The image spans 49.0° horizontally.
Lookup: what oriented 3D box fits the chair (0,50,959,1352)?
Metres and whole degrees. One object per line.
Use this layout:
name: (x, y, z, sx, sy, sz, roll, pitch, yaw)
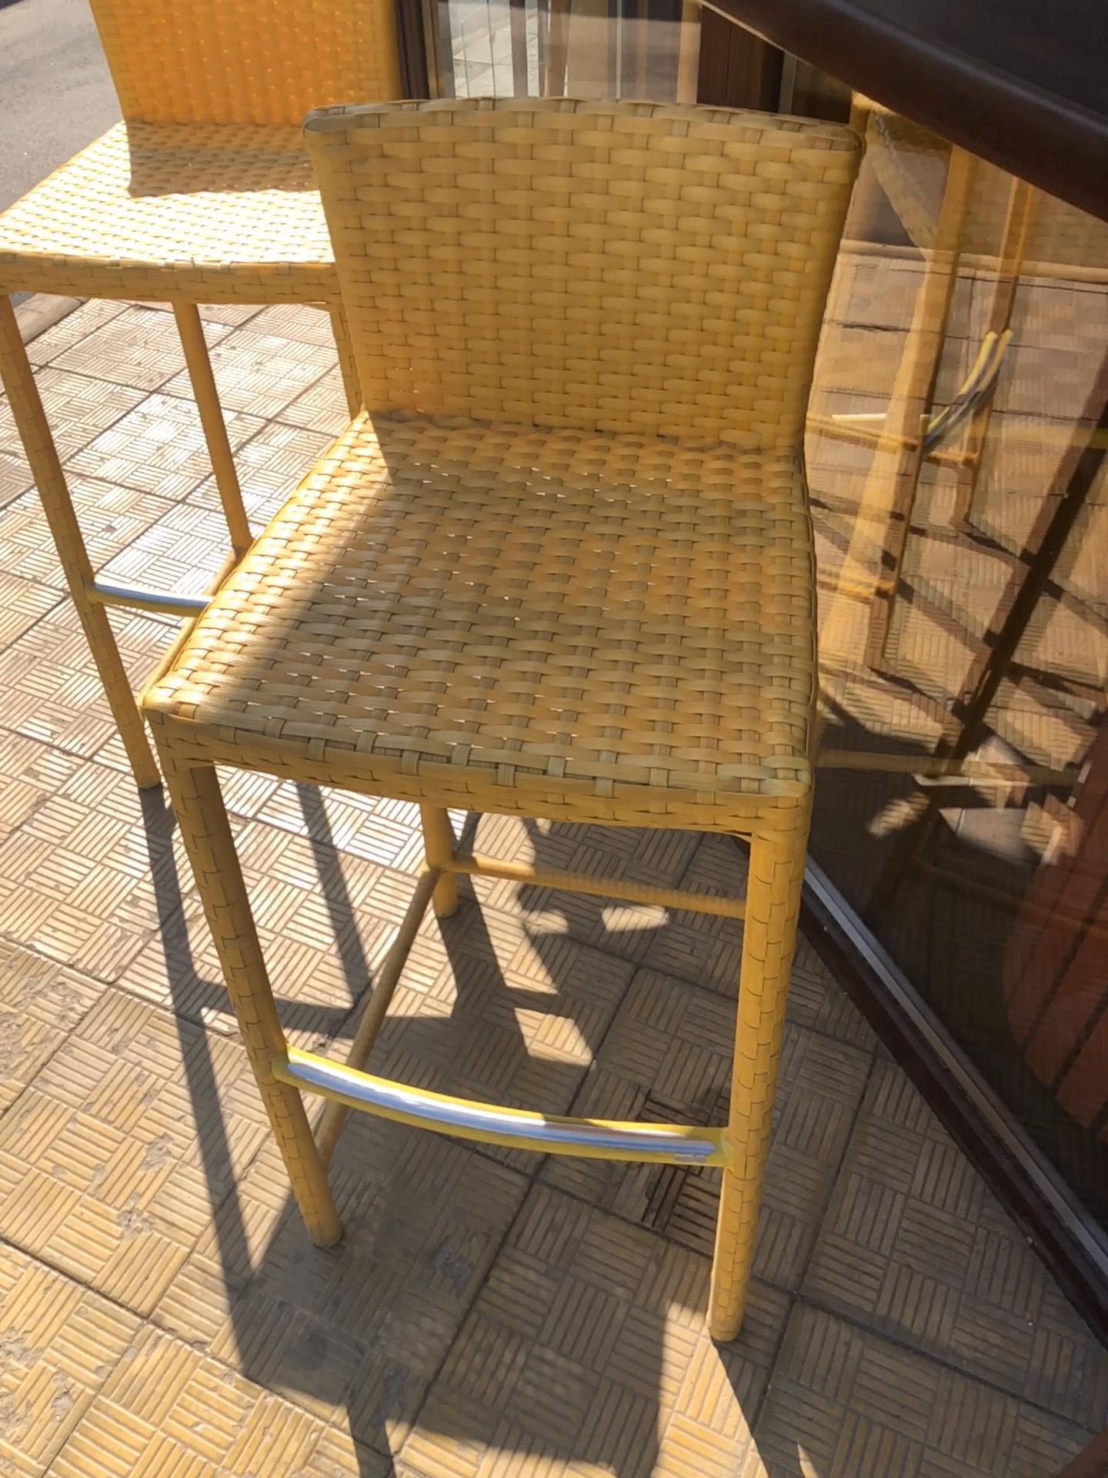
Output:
chair: (-0.014, 0.029, 1.013, 0.480, 0.916, 0.522, 9, 47, 9)
